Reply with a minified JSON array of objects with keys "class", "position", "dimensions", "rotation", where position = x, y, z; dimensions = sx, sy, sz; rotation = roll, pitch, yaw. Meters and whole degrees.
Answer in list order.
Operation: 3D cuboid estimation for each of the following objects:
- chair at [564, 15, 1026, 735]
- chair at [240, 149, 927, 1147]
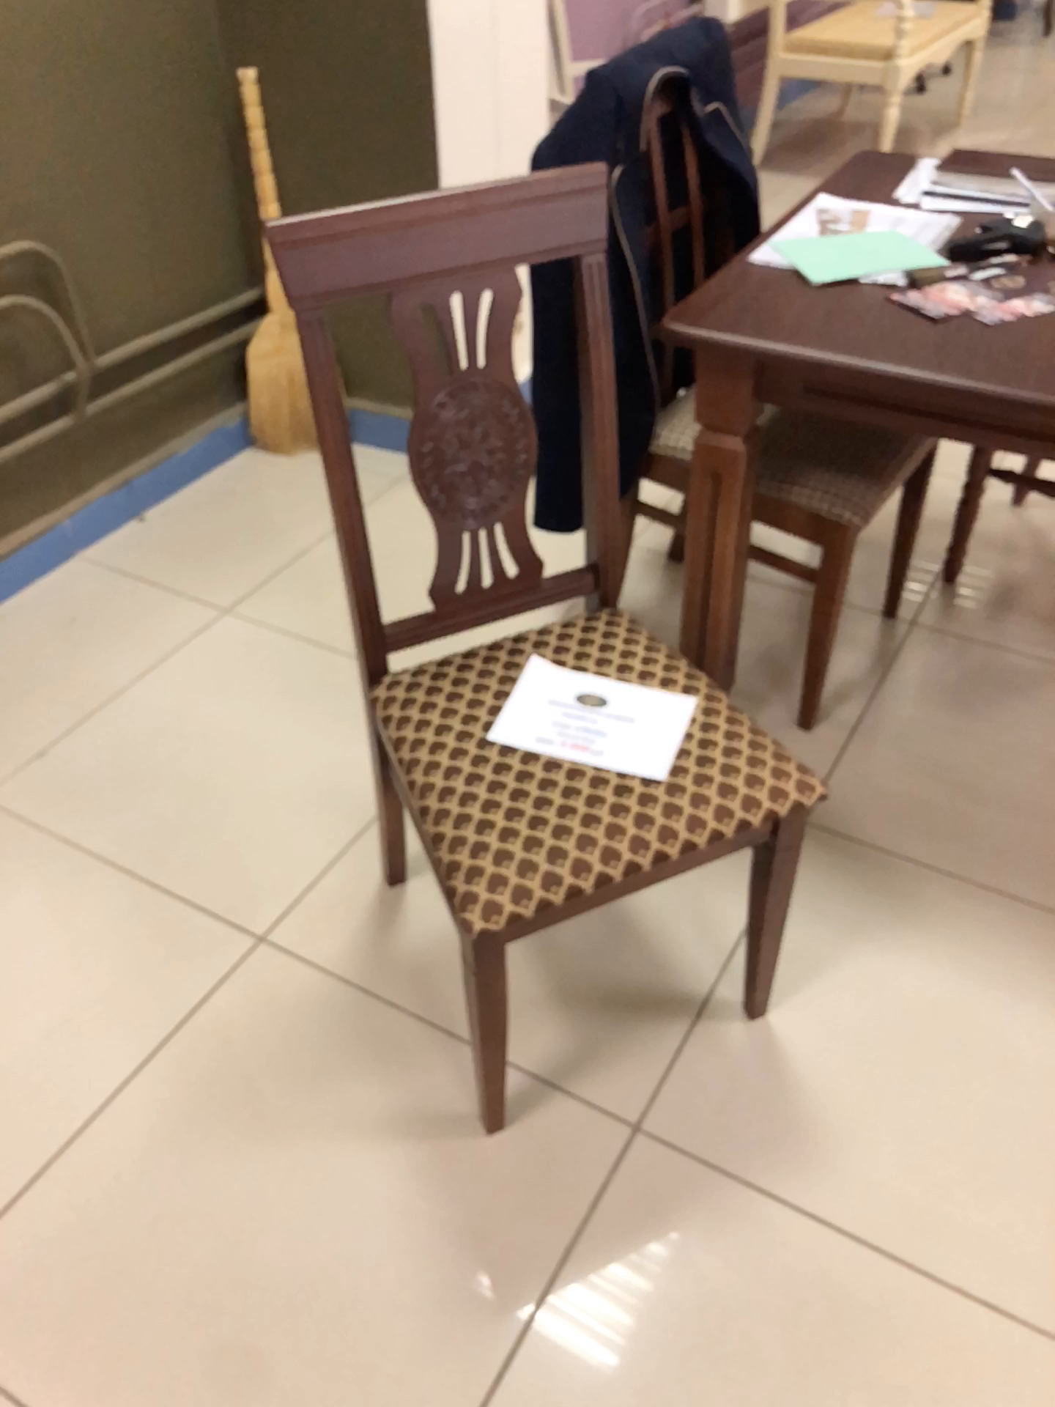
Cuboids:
[{"class":"chair","position":[0.385,-0.515,1.905],"dimensions":[0.491,0.955,0.432],"rotation":[21,44,26]},{"class":"chair","position":[0.034,-0.038,1.324],"dimensions":[0.436,0.935,0.472],"rotation":[-18,41,-18]}]
